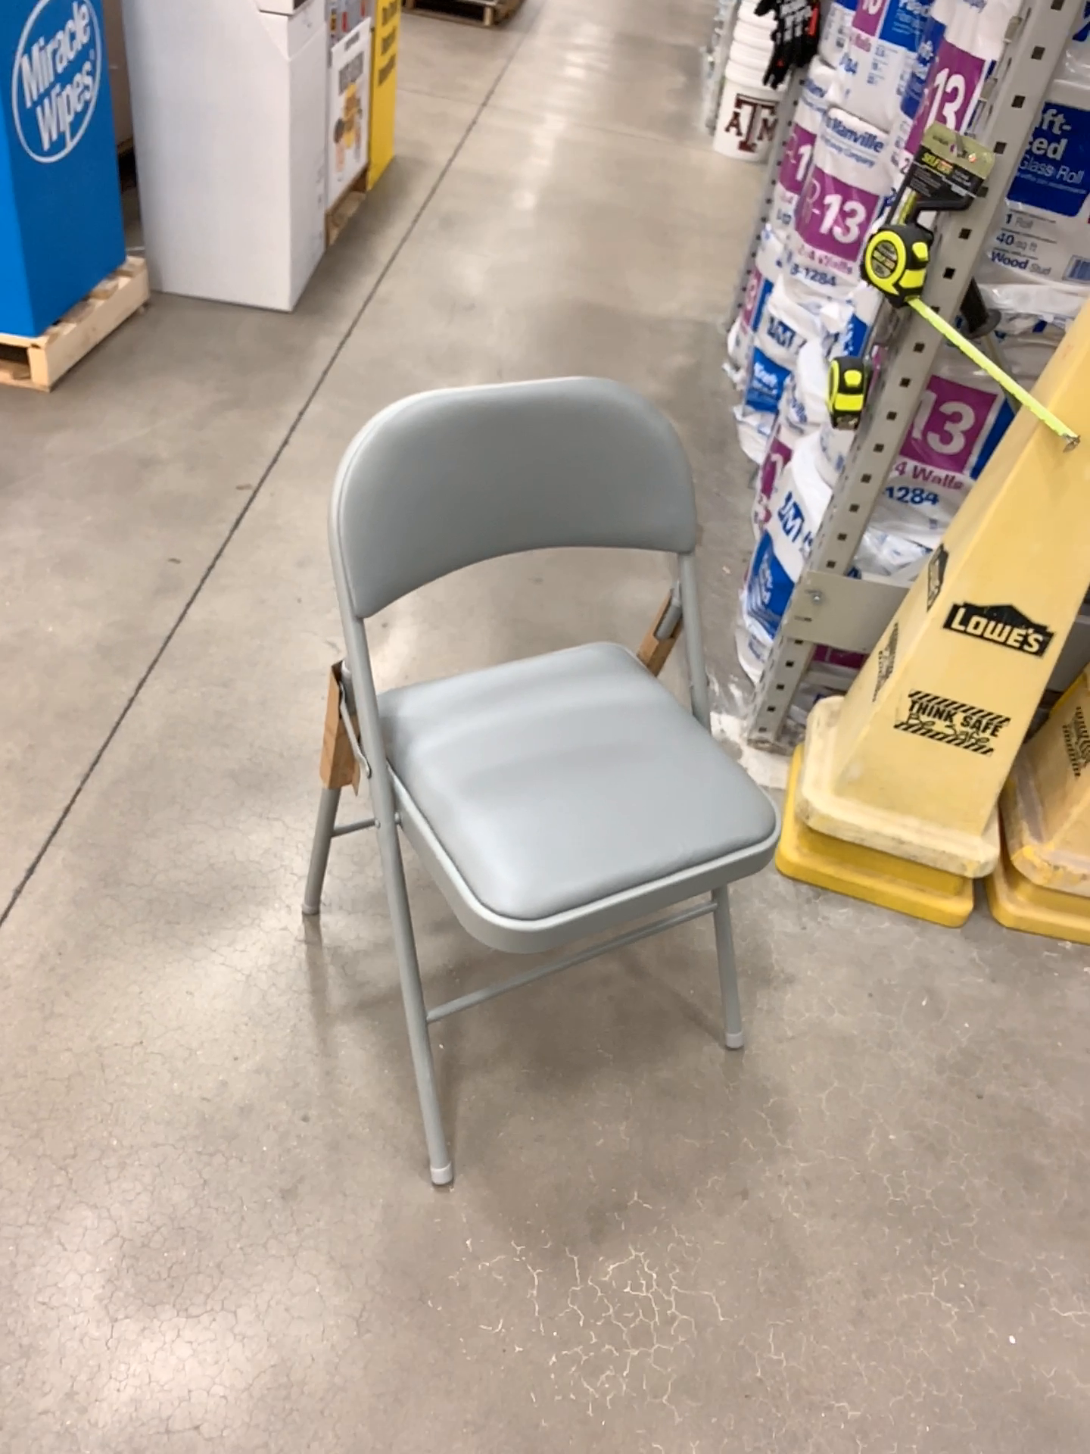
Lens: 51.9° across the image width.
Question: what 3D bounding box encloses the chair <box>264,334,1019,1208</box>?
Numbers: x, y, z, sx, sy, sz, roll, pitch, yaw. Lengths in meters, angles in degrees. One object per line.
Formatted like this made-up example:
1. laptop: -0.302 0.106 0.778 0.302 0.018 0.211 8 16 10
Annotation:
1. chair: 0.016 0.038 1.208 0.488 0.709 0.486 -14 47 -27
